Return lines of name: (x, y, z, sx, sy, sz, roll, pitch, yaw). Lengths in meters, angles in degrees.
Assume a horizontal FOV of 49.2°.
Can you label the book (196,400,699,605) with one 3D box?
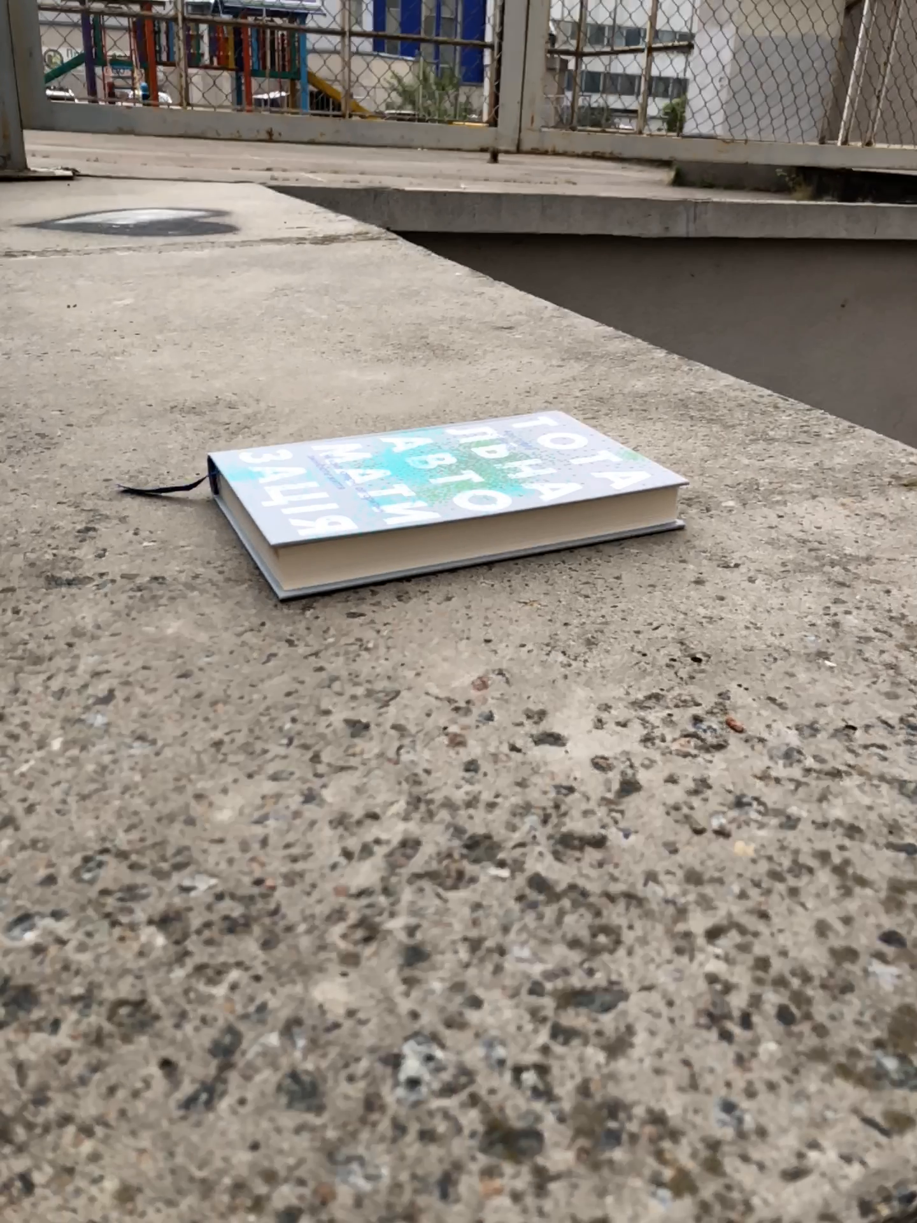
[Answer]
book: (-0.012, -0.068, 0.533, 0.221, 0.030, 0.157, -11, 29, -21)
